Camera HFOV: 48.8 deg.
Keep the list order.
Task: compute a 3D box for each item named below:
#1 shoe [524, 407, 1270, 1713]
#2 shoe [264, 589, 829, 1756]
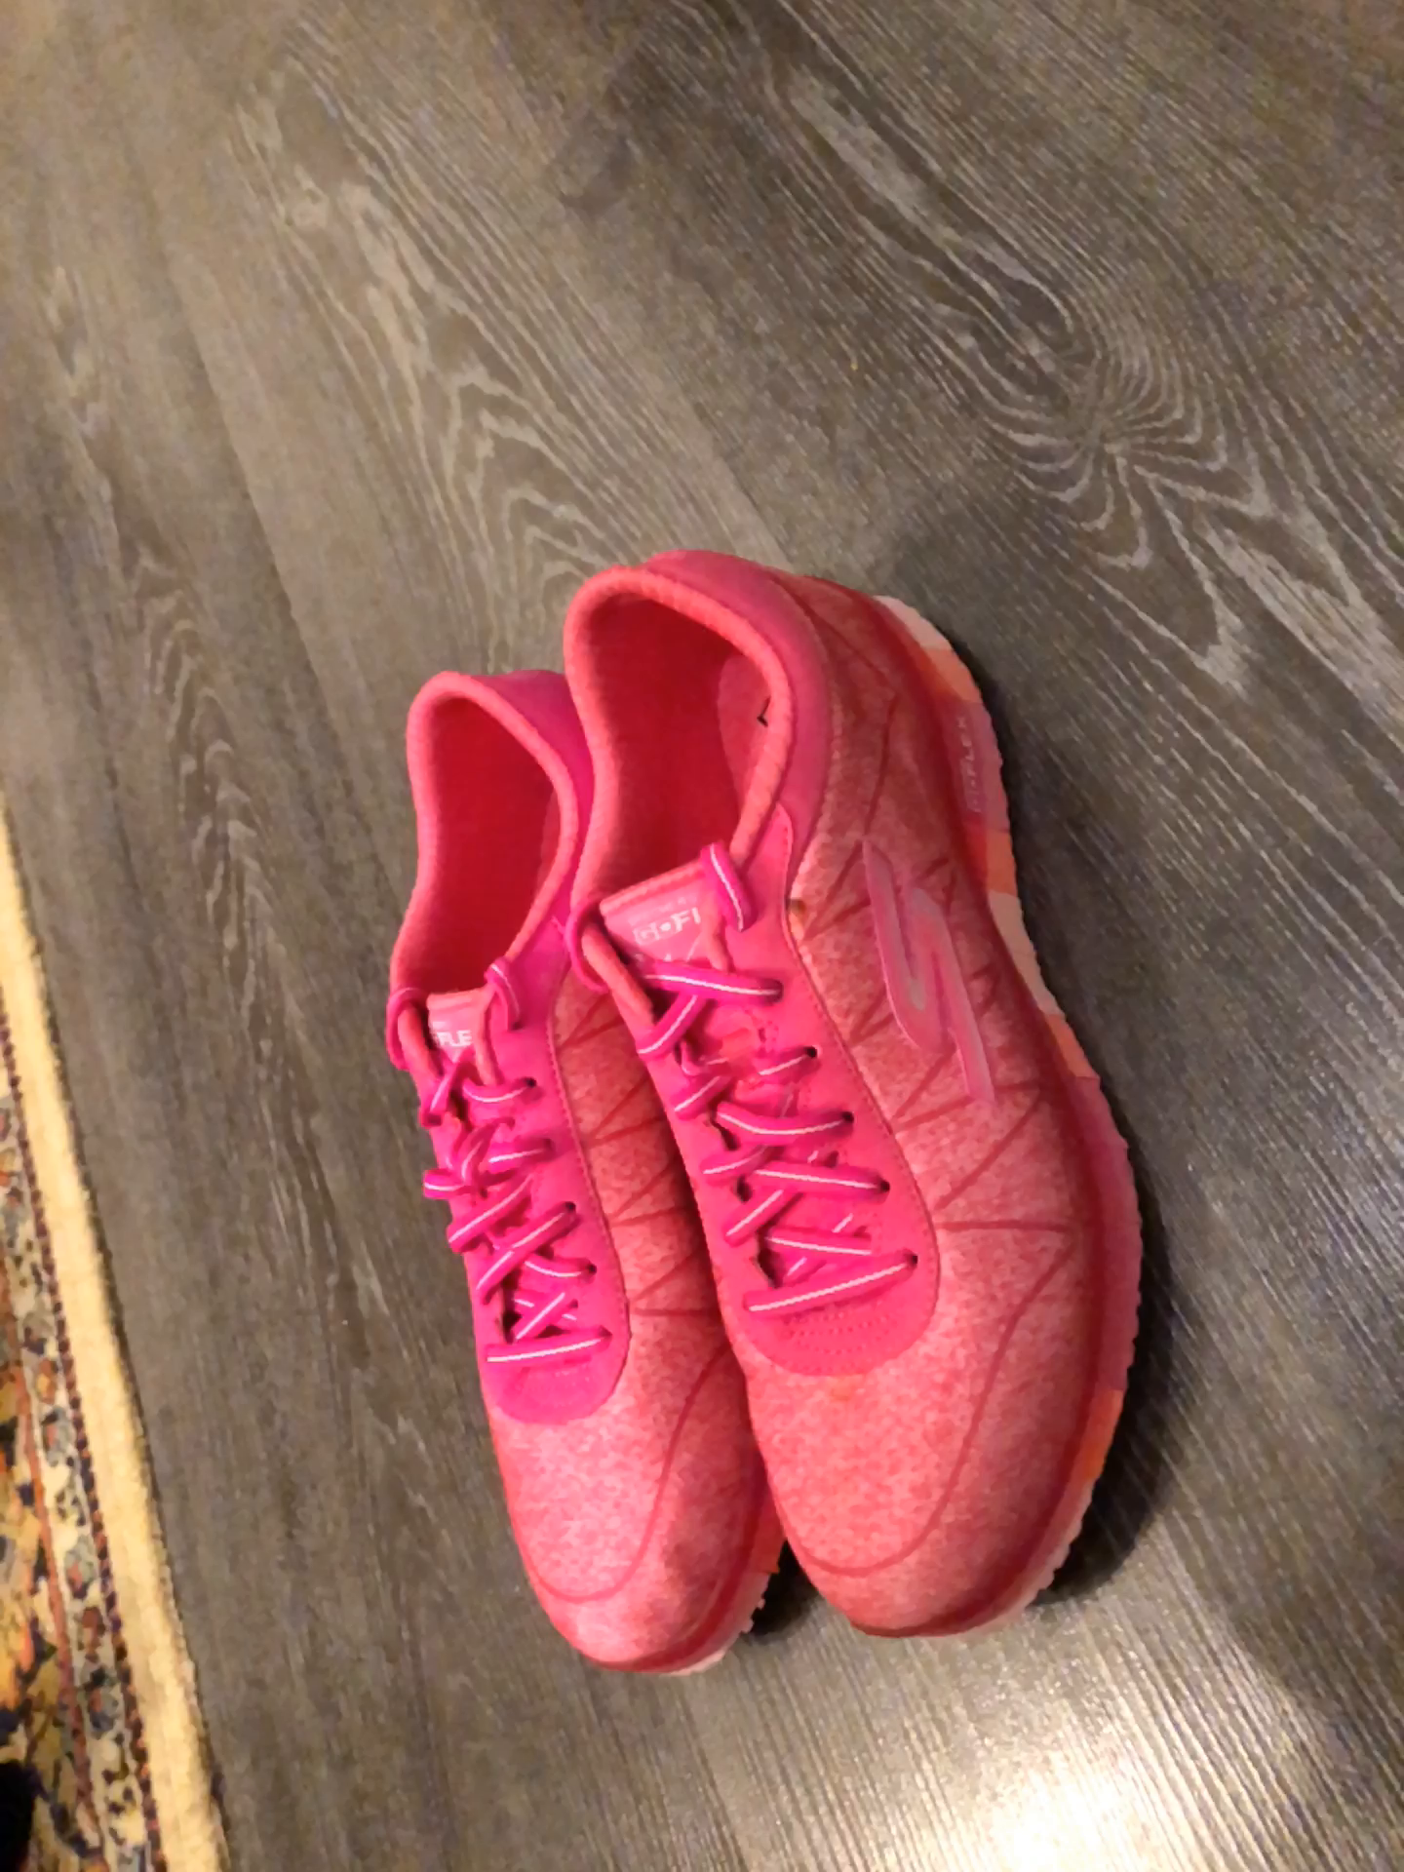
[{"bbox_3d":[0.035,0.028,0.359,0.100,0.090,0.260,-23,64,36],"label":"shoe"},{"bbox_3d":[-0.042,0.058,0.408,0.100,0.090,0.260,-17,67,38],"label":"shoe"}]
